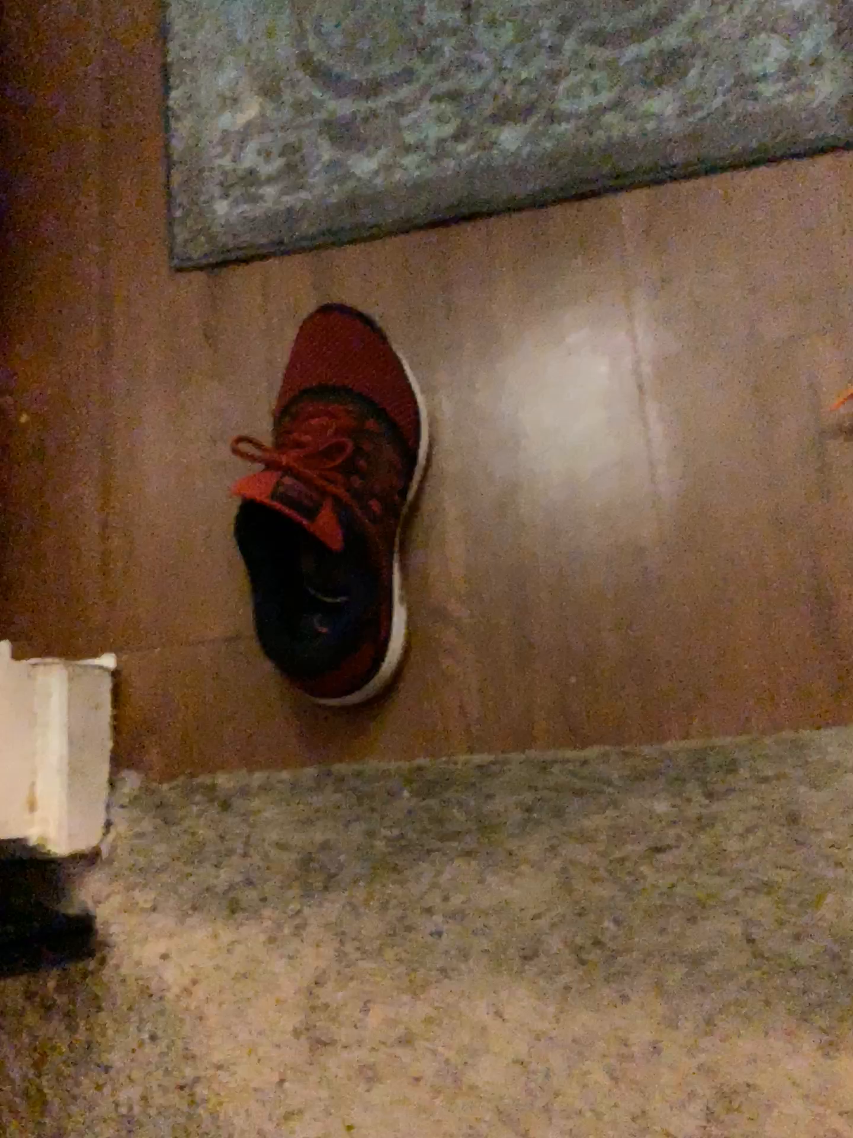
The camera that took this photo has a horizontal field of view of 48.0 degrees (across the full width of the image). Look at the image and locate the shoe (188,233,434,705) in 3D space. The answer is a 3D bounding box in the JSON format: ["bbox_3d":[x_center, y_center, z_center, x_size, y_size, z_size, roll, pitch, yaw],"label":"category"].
[{"bbox_3d":[-0.071,-0.060,0.681,0.130,0.140,0.300,-2,78,9],"label":"shoe"}]
